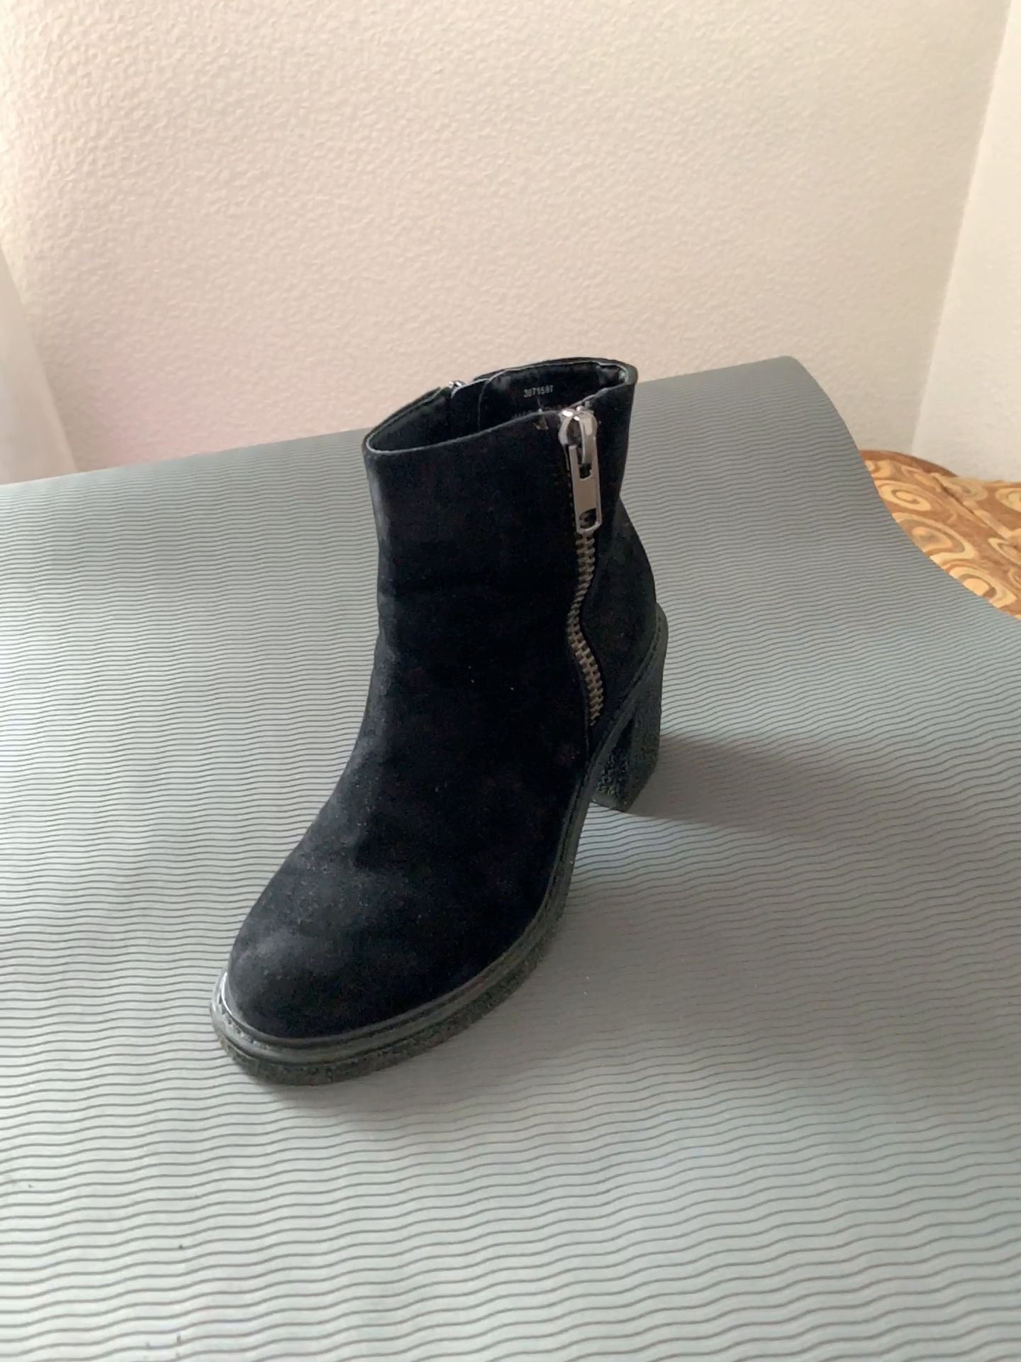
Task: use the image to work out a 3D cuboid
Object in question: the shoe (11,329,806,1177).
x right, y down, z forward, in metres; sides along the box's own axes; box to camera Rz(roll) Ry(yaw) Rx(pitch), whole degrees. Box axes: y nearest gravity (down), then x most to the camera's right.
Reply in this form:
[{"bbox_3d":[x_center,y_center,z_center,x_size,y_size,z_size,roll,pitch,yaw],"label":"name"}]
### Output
[{"bbox_3d":[-0.012,0.003,0.365,0.098,0.179,0.241,25,41,32],"label":"shoe"}]
